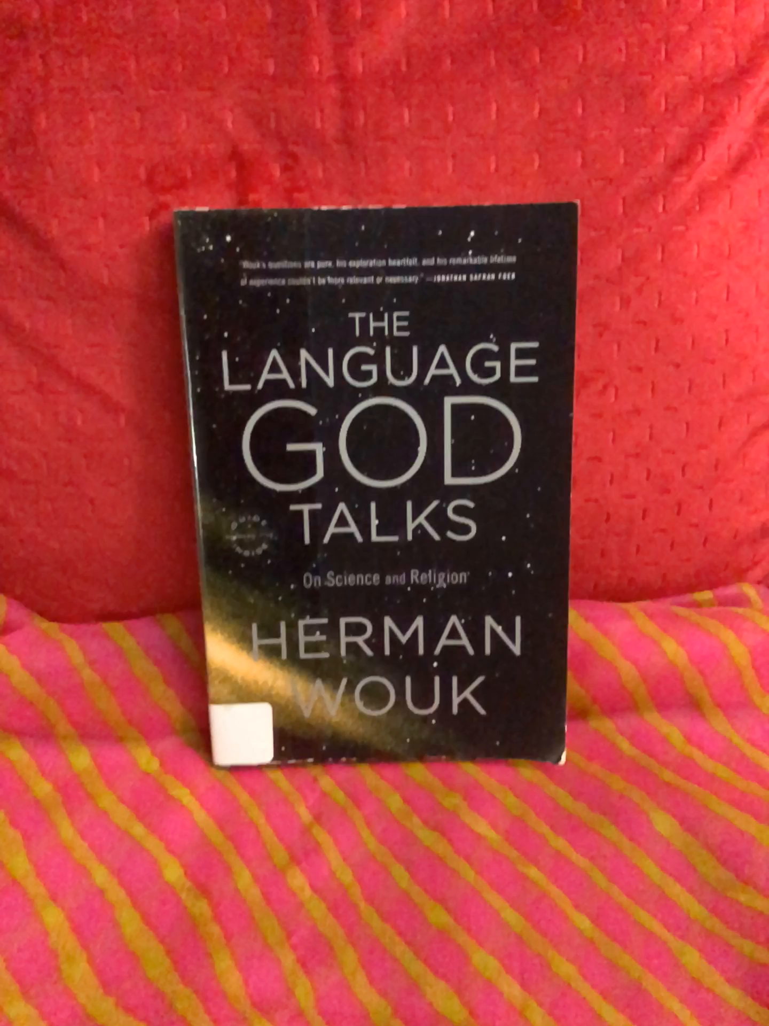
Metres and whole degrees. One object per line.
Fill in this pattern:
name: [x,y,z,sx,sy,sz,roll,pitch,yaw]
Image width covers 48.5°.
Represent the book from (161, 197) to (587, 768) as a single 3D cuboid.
book: [-0.001,-0.007,0.313,0.138,0.199,0.030,-2,13,-1]
